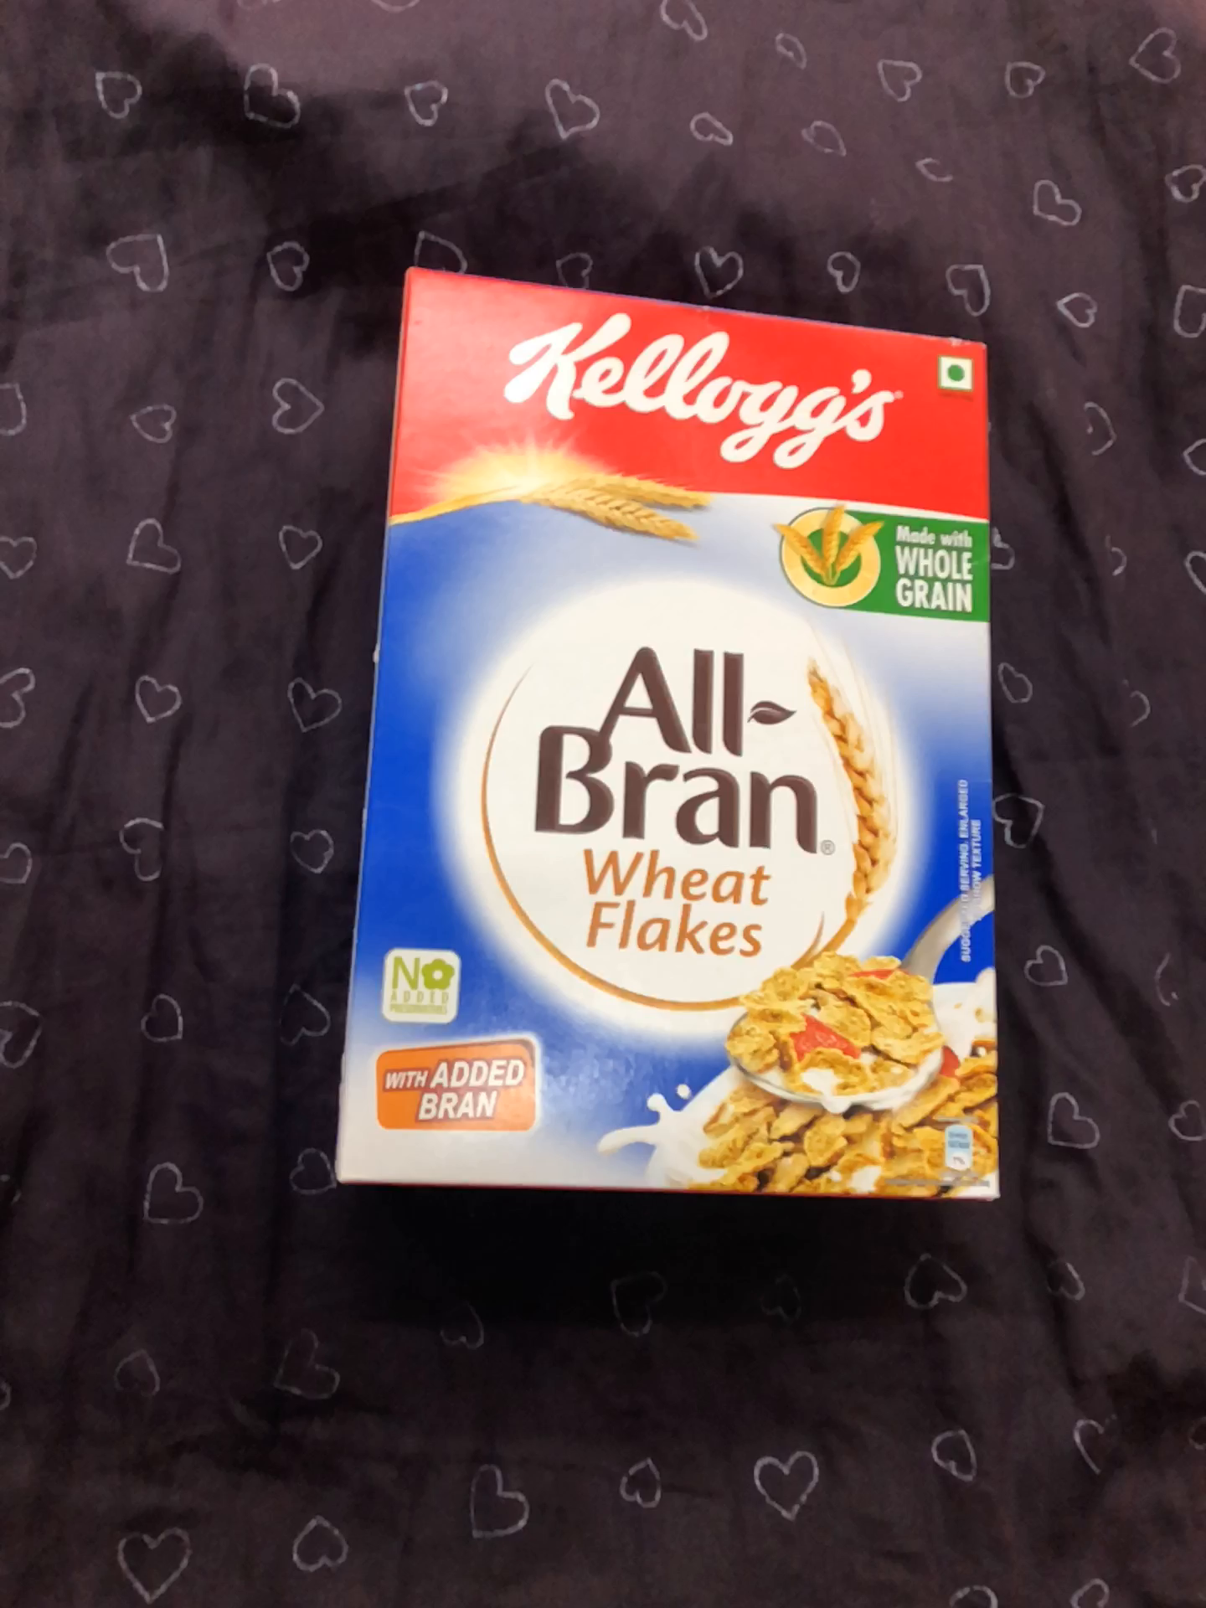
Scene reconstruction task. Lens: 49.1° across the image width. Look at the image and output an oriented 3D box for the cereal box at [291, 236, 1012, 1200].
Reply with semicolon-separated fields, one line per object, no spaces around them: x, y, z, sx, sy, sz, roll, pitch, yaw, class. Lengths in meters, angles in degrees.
0.016;-0.021;0.400;0.190;0.070;0.260;4;79;-9;cereal box
